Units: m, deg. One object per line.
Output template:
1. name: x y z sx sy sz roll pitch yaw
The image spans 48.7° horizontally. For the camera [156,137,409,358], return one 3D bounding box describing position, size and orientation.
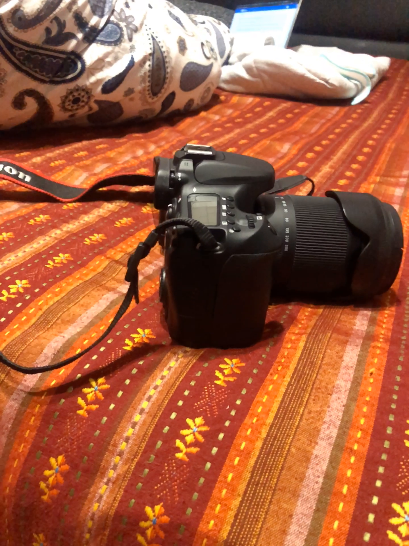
1. camera: 0.055 -0.028 0.324 0.170 0.099 0.131 -3 33 -9
